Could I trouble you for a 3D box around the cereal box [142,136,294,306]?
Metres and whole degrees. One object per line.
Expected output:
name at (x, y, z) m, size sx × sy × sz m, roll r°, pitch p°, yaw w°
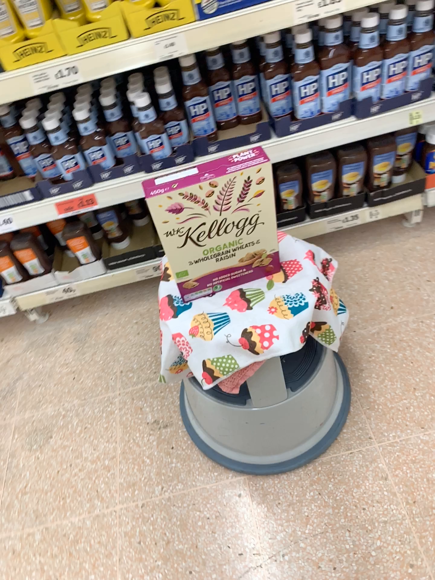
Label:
cereal box at (0.014, -0.101, 0.734) m, size 0.200 × 0.248 × 0.050 m, roll -18°, pitch 47°, yaw -1°
